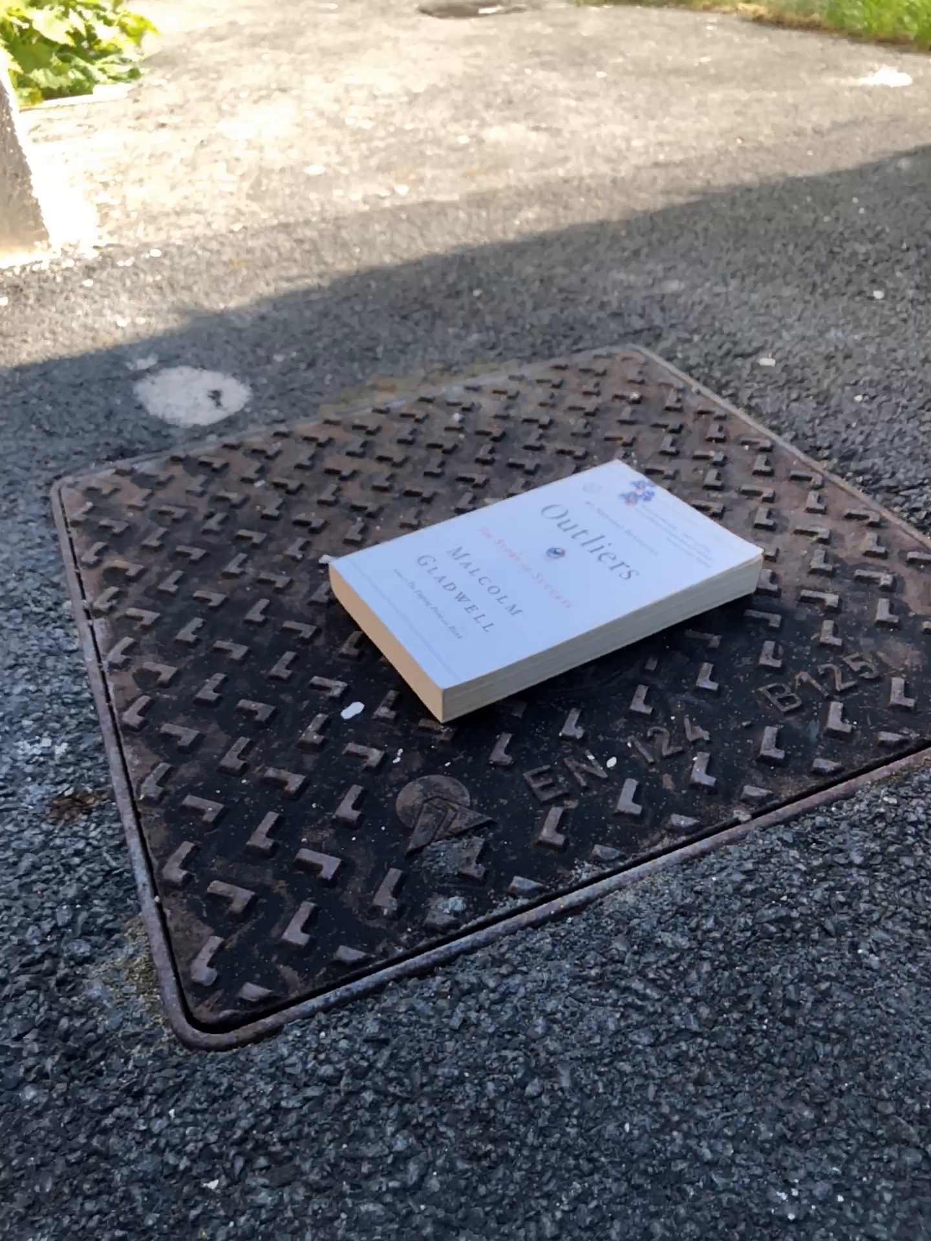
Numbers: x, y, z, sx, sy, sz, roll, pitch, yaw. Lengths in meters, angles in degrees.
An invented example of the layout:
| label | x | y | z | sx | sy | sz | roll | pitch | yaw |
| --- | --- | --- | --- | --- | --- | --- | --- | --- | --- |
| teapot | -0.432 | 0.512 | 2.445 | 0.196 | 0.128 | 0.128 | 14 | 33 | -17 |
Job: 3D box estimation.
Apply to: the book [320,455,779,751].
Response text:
| label | x | y | z | sx | sy | sz | roll | pitch | yaw |
| --- | --- | --- | --- | --- | --- | --- | --- | --- | --- |
| book | 0.045 | -0.021 | 0.575 | 0.210 | 0.030 | 0.140 | -22 | 42 | -22 |
